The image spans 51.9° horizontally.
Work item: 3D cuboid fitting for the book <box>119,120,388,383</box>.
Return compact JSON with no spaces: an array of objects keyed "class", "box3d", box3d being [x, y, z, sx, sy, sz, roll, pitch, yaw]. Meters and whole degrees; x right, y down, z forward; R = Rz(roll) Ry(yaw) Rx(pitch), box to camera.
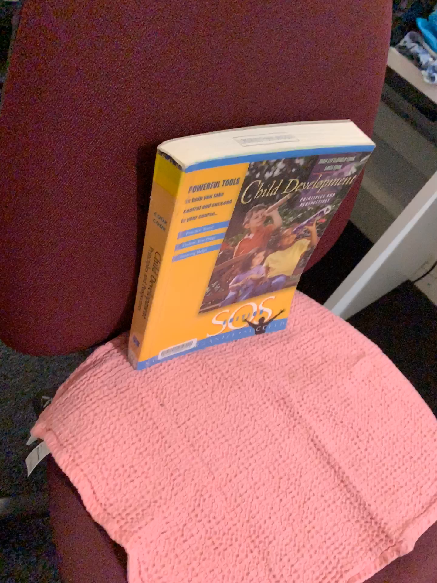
[{"class":"book","box3d":[0.023,-0.037,0.462,0.226,0.258,0.050,-16,52,-31]}]
